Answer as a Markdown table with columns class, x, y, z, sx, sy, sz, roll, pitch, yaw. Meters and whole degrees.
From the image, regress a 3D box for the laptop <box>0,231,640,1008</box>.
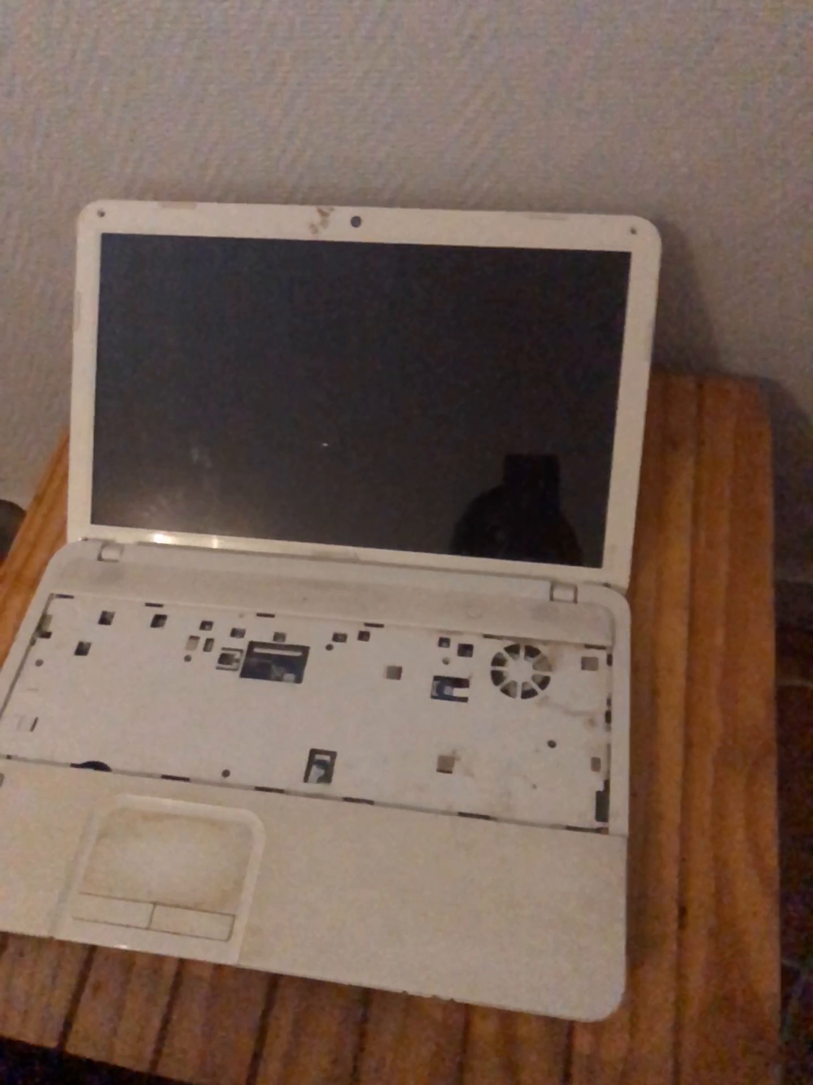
| class | x | y | z | sx | sy | sz | roll | pitch | yaw |
| --- | --- | --- | --- | --- | --- | --- | --- | --- | --- |
| laptop | -0.065 | 0.004 | 0.519 | 0.371 | 0.118 | 0.419 | 4 | 56 | 9 |
